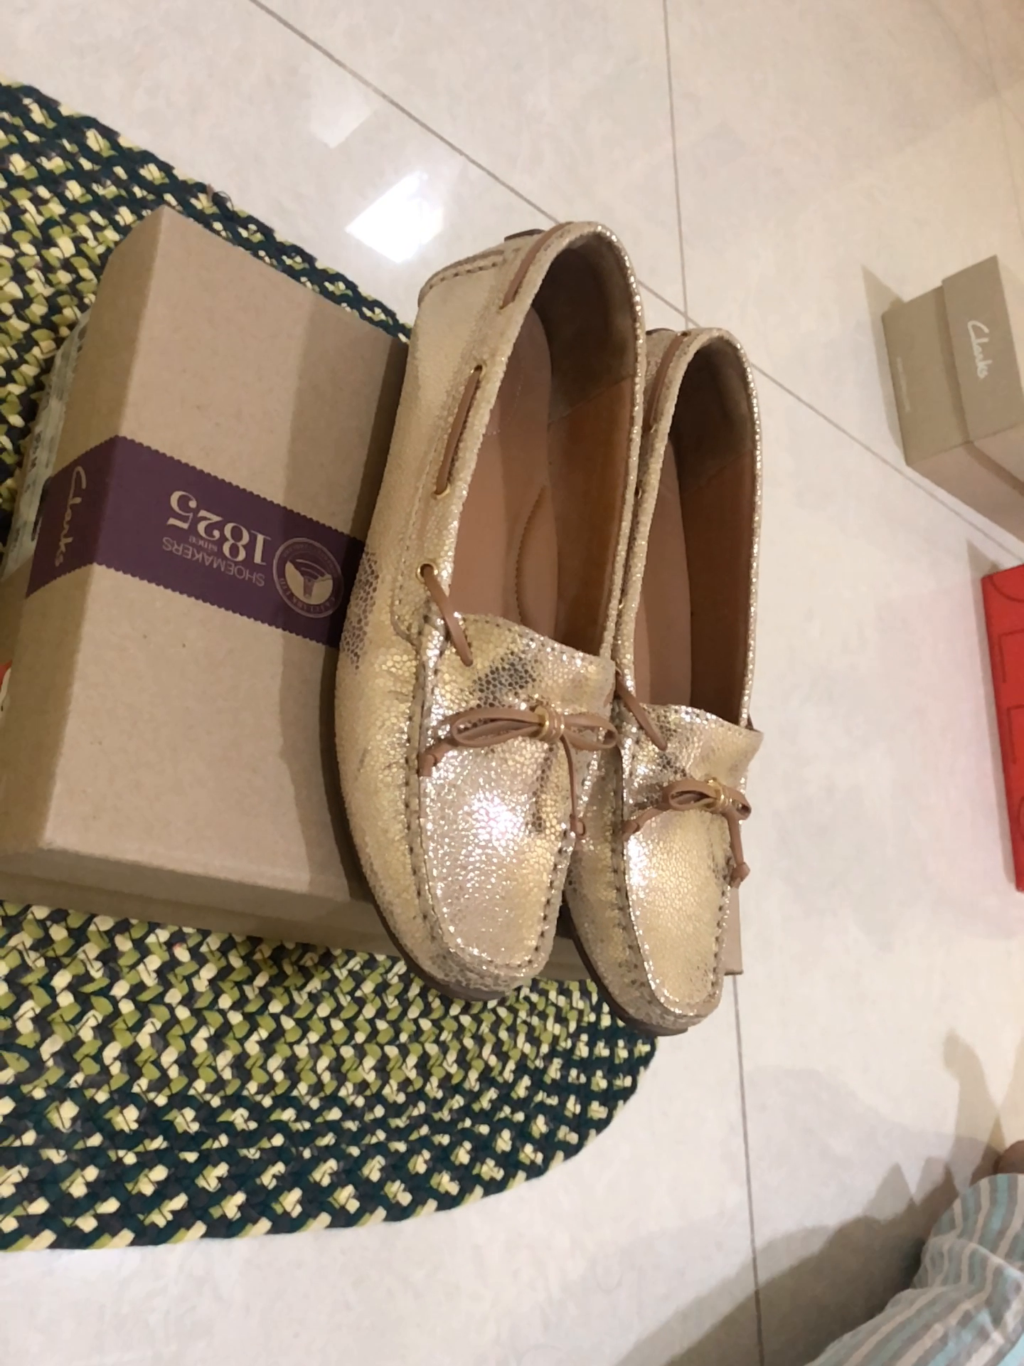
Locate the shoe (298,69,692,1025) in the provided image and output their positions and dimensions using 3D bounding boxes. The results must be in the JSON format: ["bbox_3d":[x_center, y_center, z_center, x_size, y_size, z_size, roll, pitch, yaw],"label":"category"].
[{"bbox_3d":[-0.001,-0.043,0.356,0.091,0.060,0.280,20,62,-41],"label":"shoe"}]

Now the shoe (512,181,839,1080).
[{"bbox_3d":[0.055,-0.021,0.414,0.091,0.060,0.310,20,62,-41],"label":"shoe"}]
